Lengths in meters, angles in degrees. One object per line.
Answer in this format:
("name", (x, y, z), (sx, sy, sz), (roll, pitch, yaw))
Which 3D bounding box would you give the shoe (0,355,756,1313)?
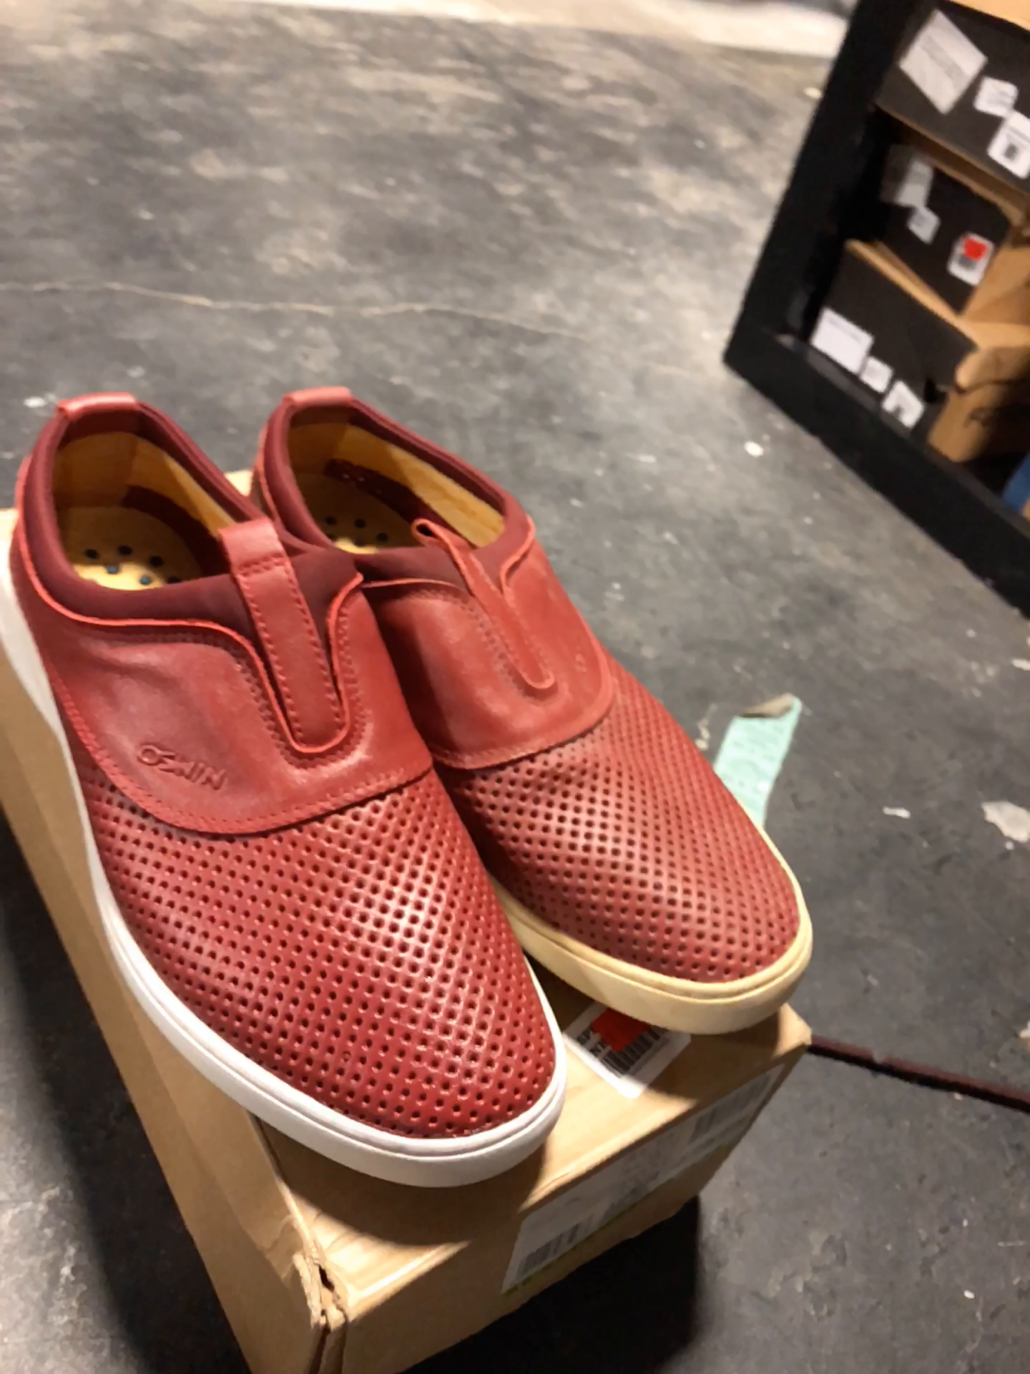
("shoe", (-0.068, 0.015, 0.322), (0.100, 0.089, 0.251), (-19, 53, -35))

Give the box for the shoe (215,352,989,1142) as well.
("shoe", (0.007, -0.001, 0.378), (0.100, 0.089, 0.251), (-19, 53, -35))
